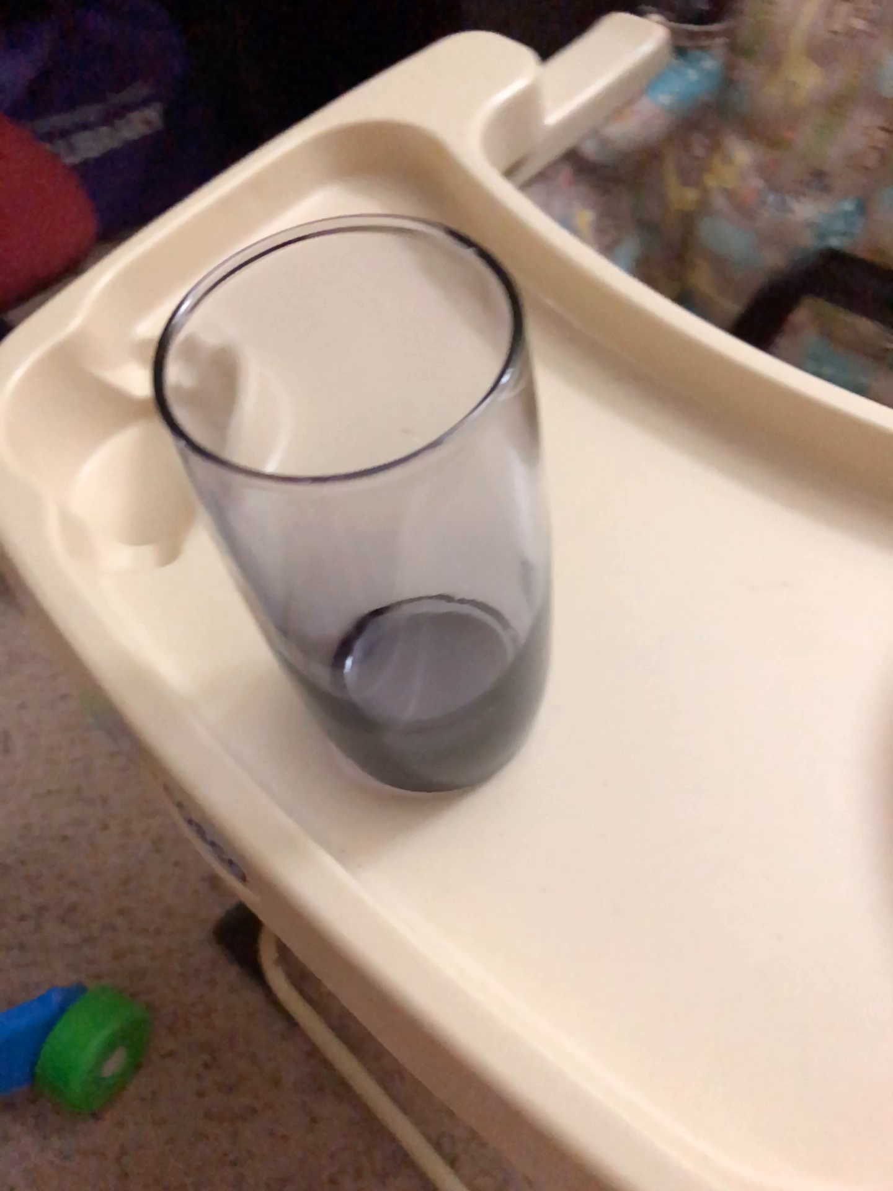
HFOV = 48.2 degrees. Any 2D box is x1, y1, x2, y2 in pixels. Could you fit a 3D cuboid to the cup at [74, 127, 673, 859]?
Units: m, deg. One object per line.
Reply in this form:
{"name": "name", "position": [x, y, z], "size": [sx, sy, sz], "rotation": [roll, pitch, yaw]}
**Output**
{"name": "cup", "position": [-0.010, -0.014, 0.237], "size": [0.084, 0.134, 0.083], "rotation": [-4, 58, 6]}
